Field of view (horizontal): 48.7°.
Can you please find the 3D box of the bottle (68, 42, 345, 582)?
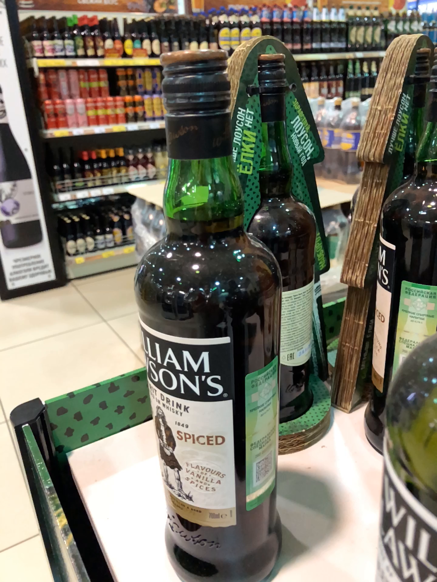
[{"bbox_3d":[0.001,0.033,0.266,0.090,0.298,0.080,-19,28,-34],"label":"bottle"}]
